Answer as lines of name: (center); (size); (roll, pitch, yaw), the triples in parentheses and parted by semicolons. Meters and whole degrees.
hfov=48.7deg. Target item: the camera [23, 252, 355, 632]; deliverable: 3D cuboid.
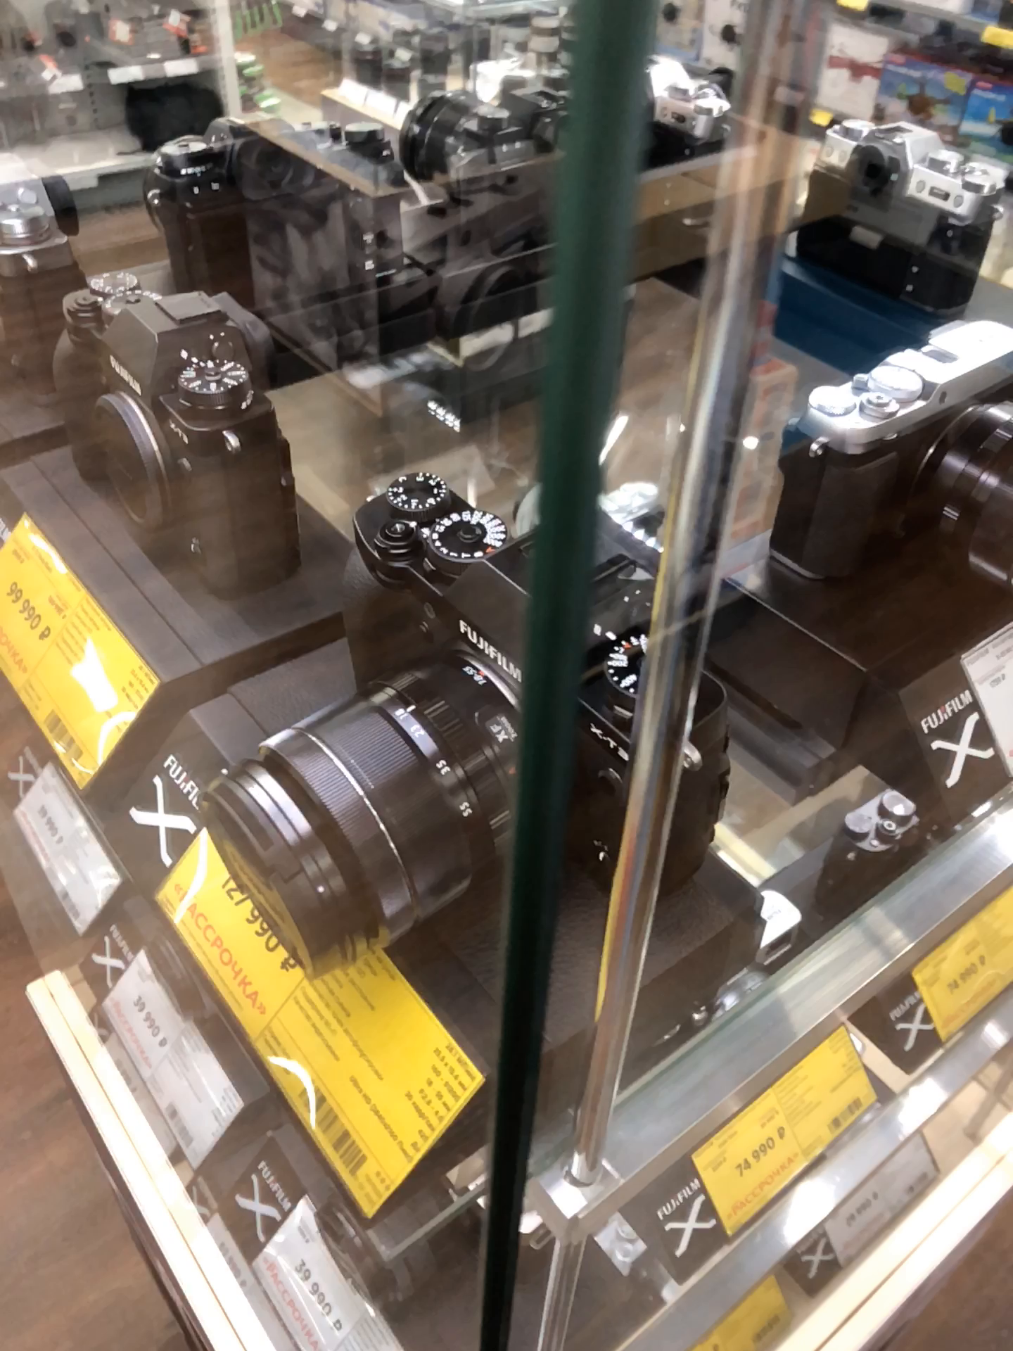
camera: (-0.124, -0.096, 0.441); (0.066, 0.088, 0.125); (-26, 49, -29)

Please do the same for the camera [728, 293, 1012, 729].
camera: (0.177, -0.069, 0.427); (0.125, 0.088, 0.115); (-25, 49, -28)

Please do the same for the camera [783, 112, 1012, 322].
camera: (0.224, -0.263, 0.636); (0.056, 0.074, 0.110); (-24, 48, -27)

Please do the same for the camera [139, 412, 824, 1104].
camera: (-0.010, 0.013, 0.317); (0.120, 0.099, 0.129); (-28, 50, -30)
